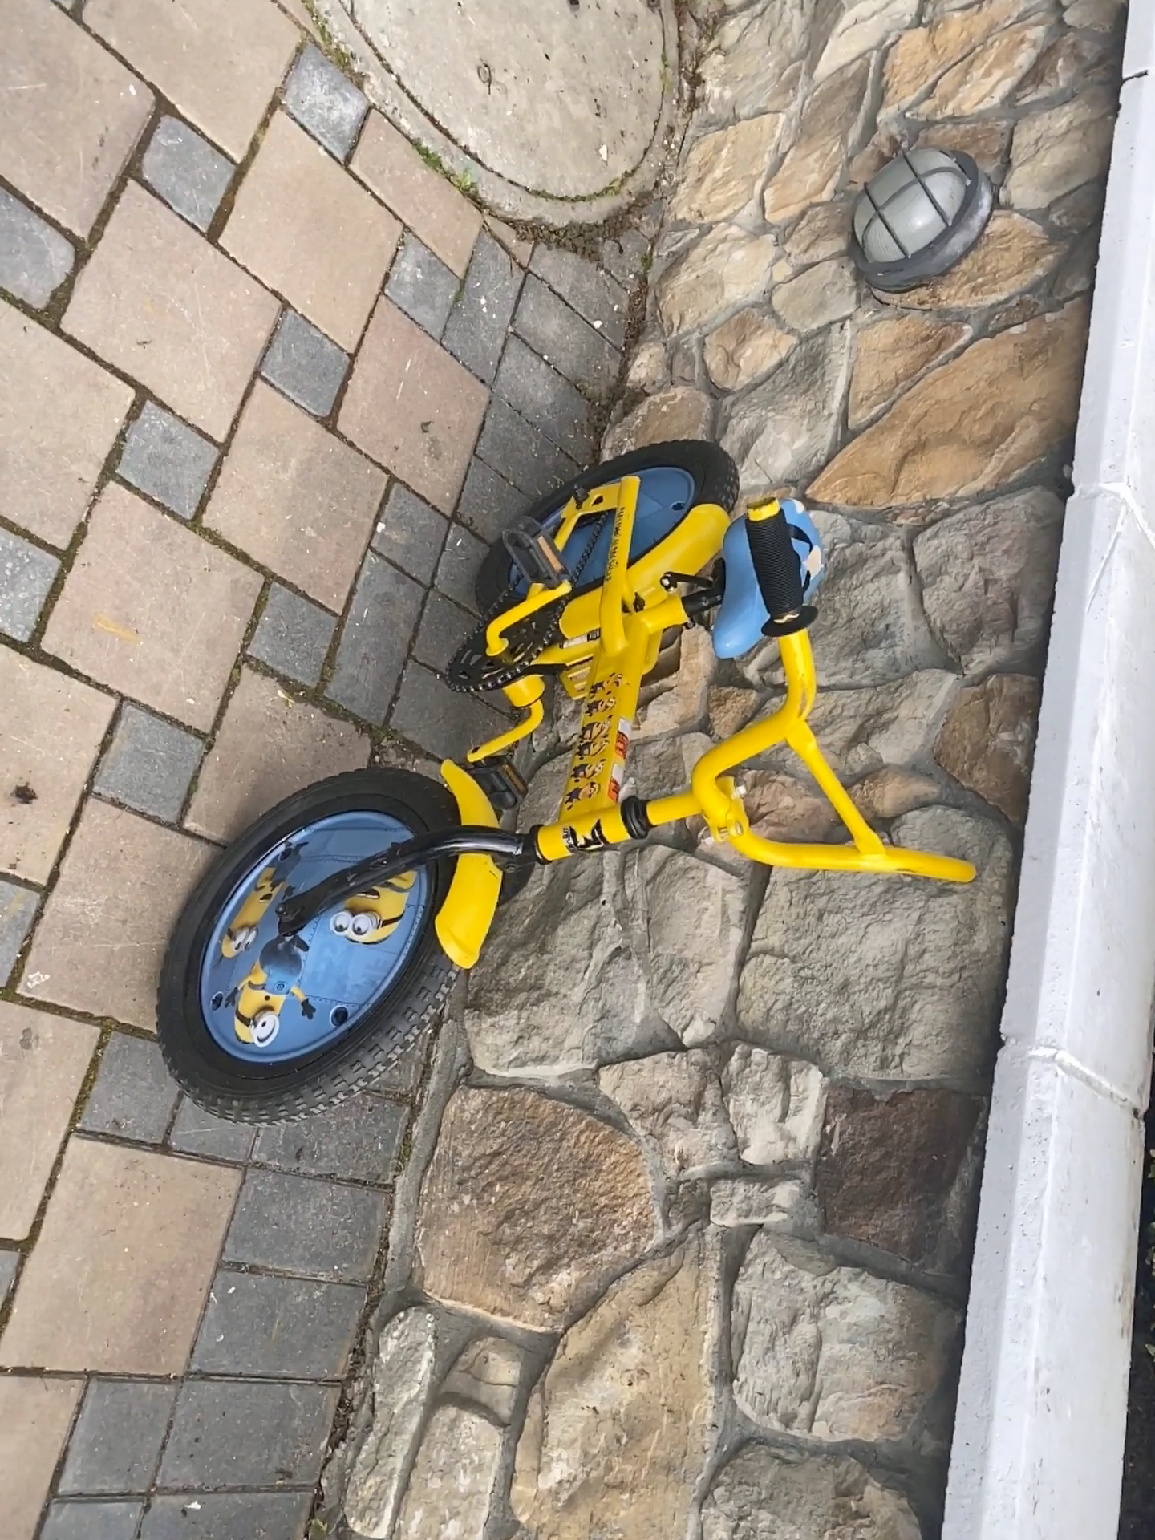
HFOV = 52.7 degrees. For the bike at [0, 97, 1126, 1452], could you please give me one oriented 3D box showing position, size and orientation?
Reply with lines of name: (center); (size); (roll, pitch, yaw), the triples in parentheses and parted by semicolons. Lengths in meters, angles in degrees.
bike: (0.083, -0.055, 1.309); (0.621, 0.735, 1.088); (52, 49, -32)
